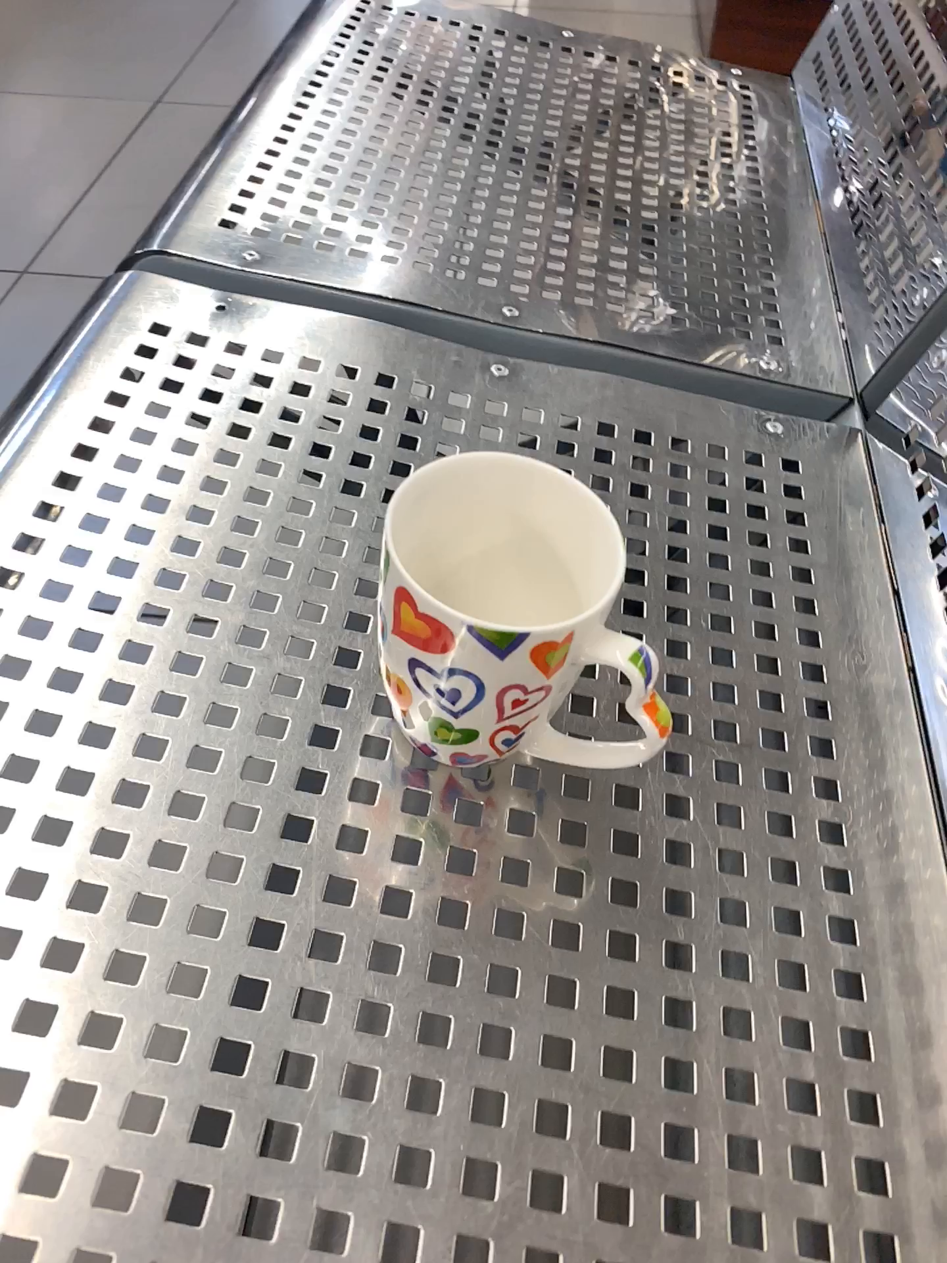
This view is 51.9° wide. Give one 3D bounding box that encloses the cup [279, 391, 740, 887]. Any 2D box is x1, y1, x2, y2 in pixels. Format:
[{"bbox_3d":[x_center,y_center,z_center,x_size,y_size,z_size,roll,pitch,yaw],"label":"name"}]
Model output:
[{"bbox_3d":[0.005,0.003,0.327,0.120,0.100,0.070,35,55,17],"label":"cup"}]
